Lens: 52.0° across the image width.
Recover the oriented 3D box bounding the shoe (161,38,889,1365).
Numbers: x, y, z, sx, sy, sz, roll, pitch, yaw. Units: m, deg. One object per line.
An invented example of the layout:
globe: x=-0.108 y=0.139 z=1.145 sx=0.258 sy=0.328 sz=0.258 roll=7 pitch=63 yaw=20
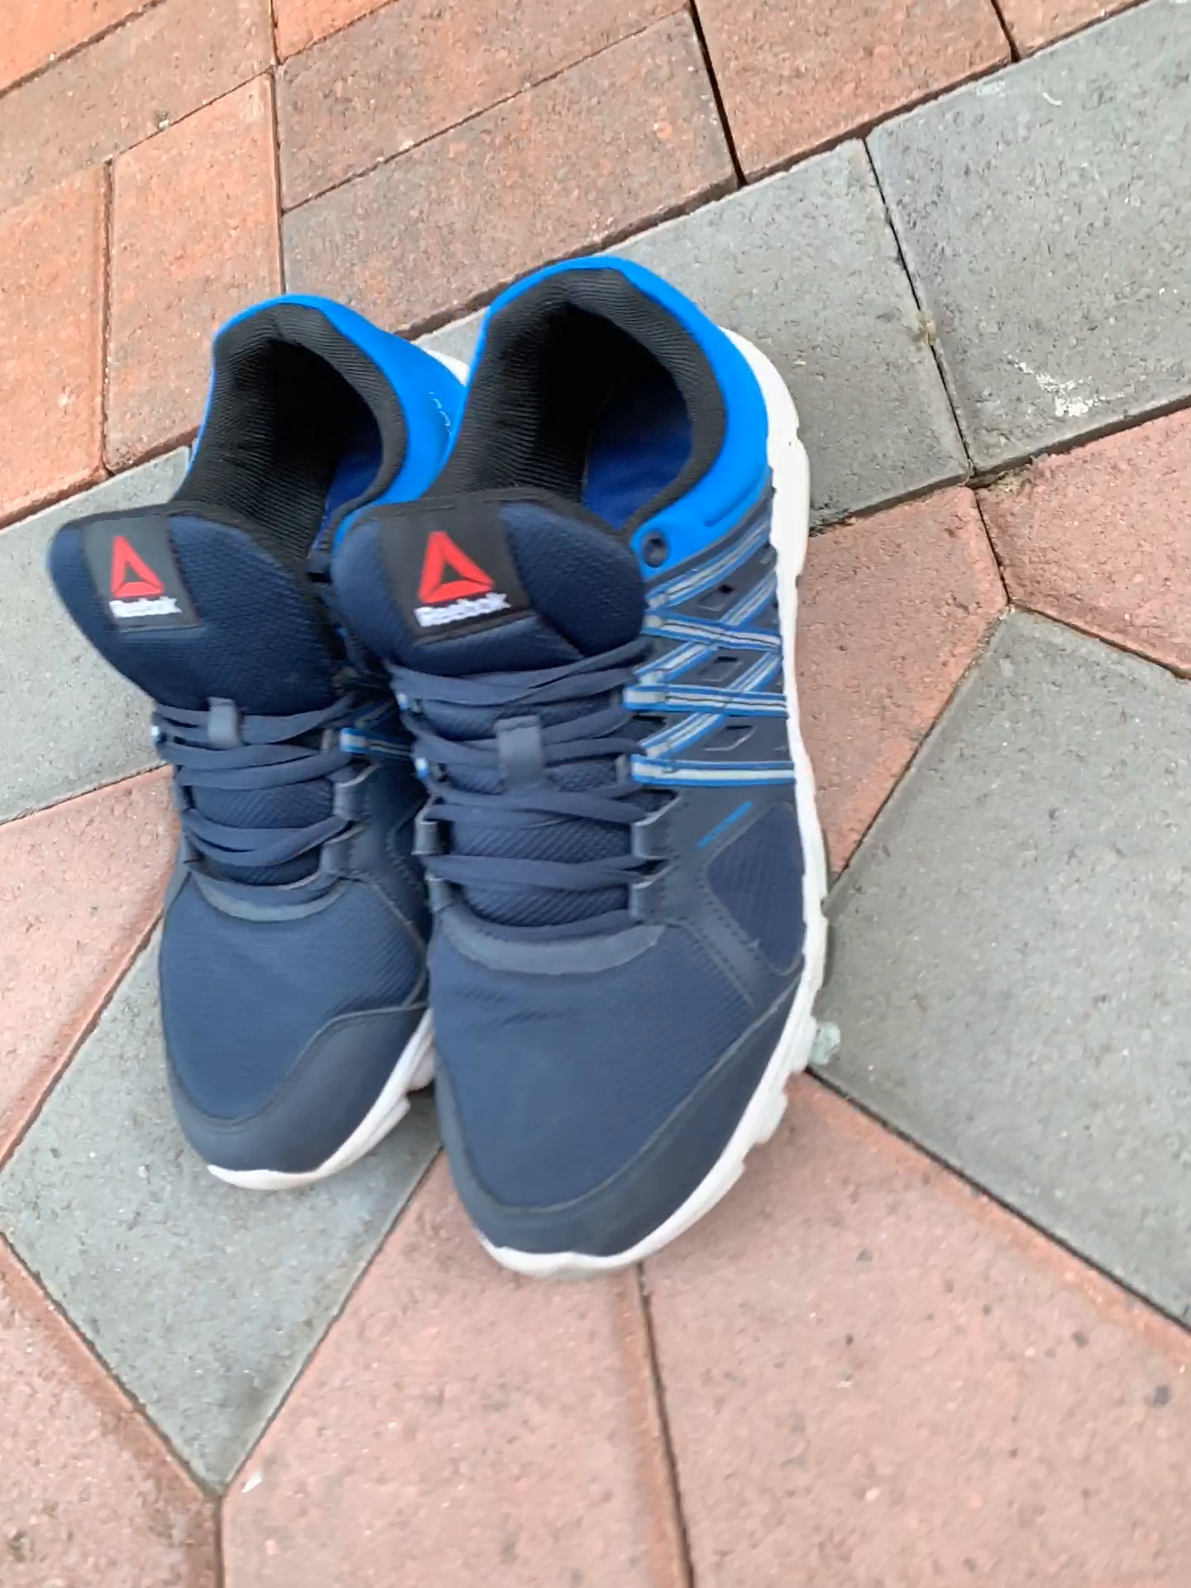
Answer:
shoe: x=0.001 y=-0.022 z=0.317 sx=0.110 sy=0.119 sz=0.281 roll=0 pitch=73 yaw=25

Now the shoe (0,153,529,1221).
shoe: x=-0.112 y=-0.023 z=0.354 sx=0.110 sy=0.119 sz=0.261 roll=0 pitch=73 yaw=25
